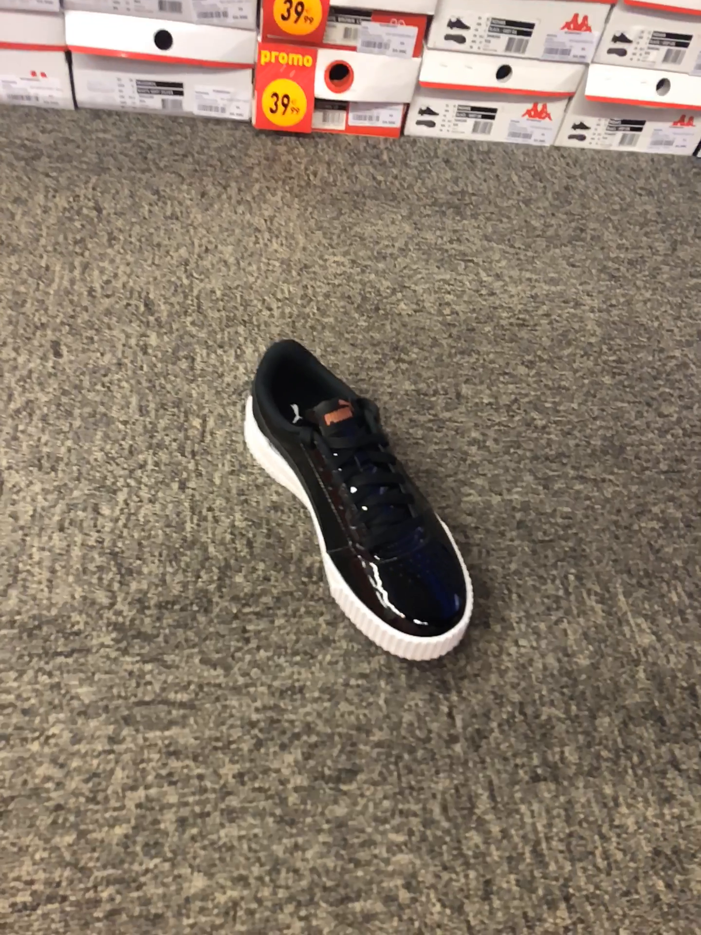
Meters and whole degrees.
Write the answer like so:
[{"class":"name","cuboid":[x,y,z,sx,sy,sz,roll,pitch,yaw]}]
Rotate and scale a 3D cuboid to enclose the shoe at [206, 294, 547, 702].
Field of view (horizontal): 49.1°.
[{"class":"shoe","cuboid":[0.002,0.013,0.543,0.100,0.099,0.260,-23,63,-25]}]
